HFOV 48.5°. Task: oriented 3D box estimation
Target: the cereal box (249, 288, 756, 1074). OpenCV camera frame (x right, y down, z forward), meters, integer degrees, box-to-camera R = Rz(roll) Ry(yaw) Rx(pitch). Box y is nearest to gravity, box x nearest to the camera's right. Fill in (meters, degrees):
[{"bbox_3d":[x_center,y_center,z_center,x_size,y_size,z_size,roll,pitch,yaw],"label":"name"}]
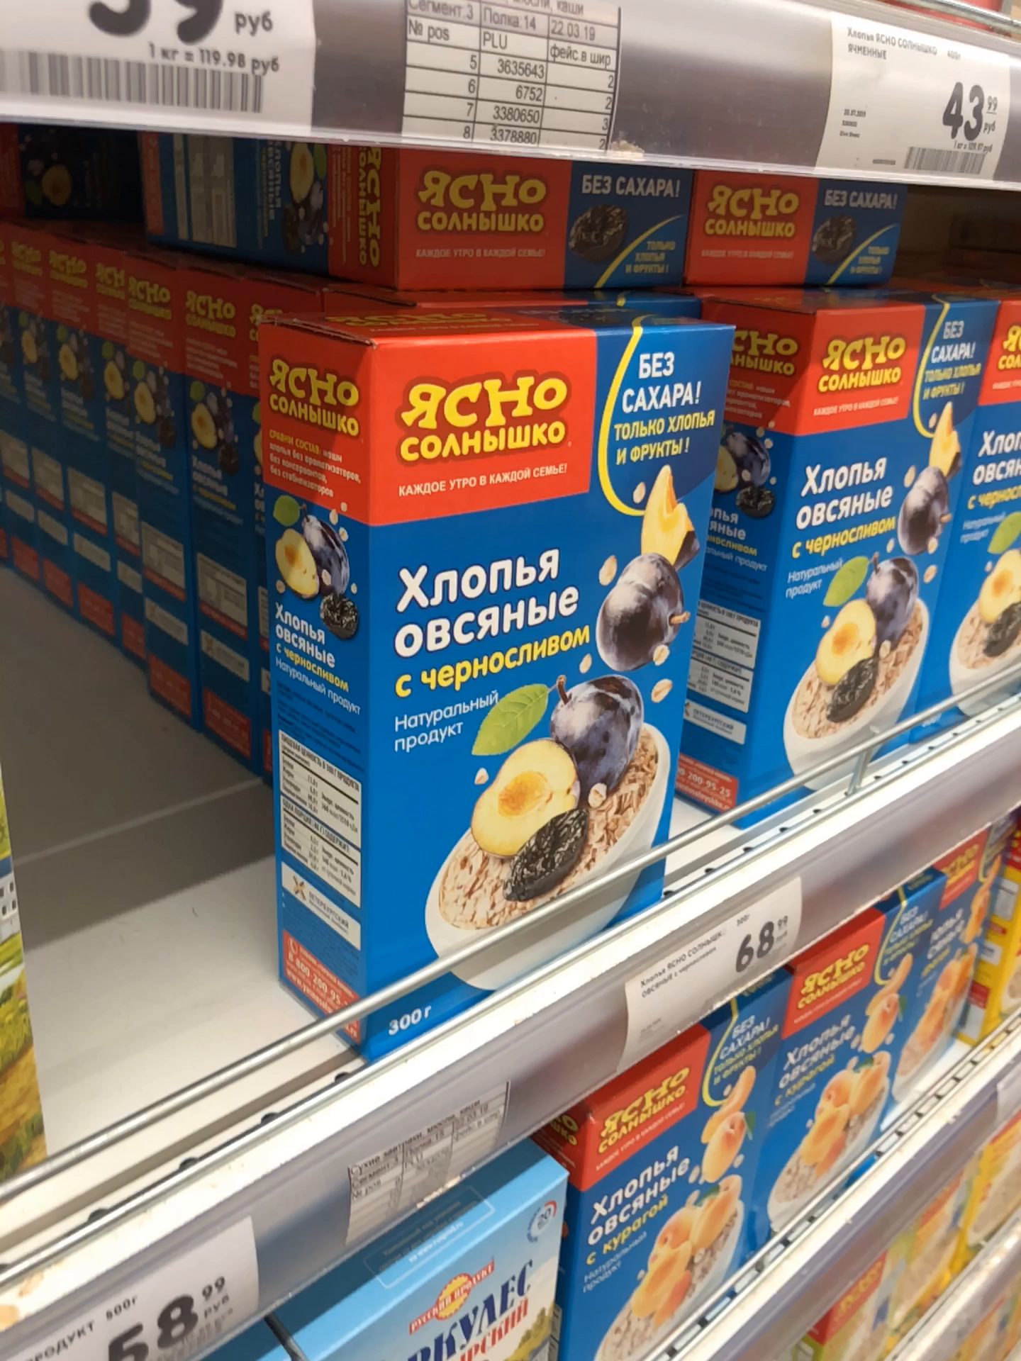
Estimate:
[{"bbox_3d":[-0.001,-0.007,0.348,0.140,0.209,0.050,-17,31,-39],"label":"cereal box"}]
